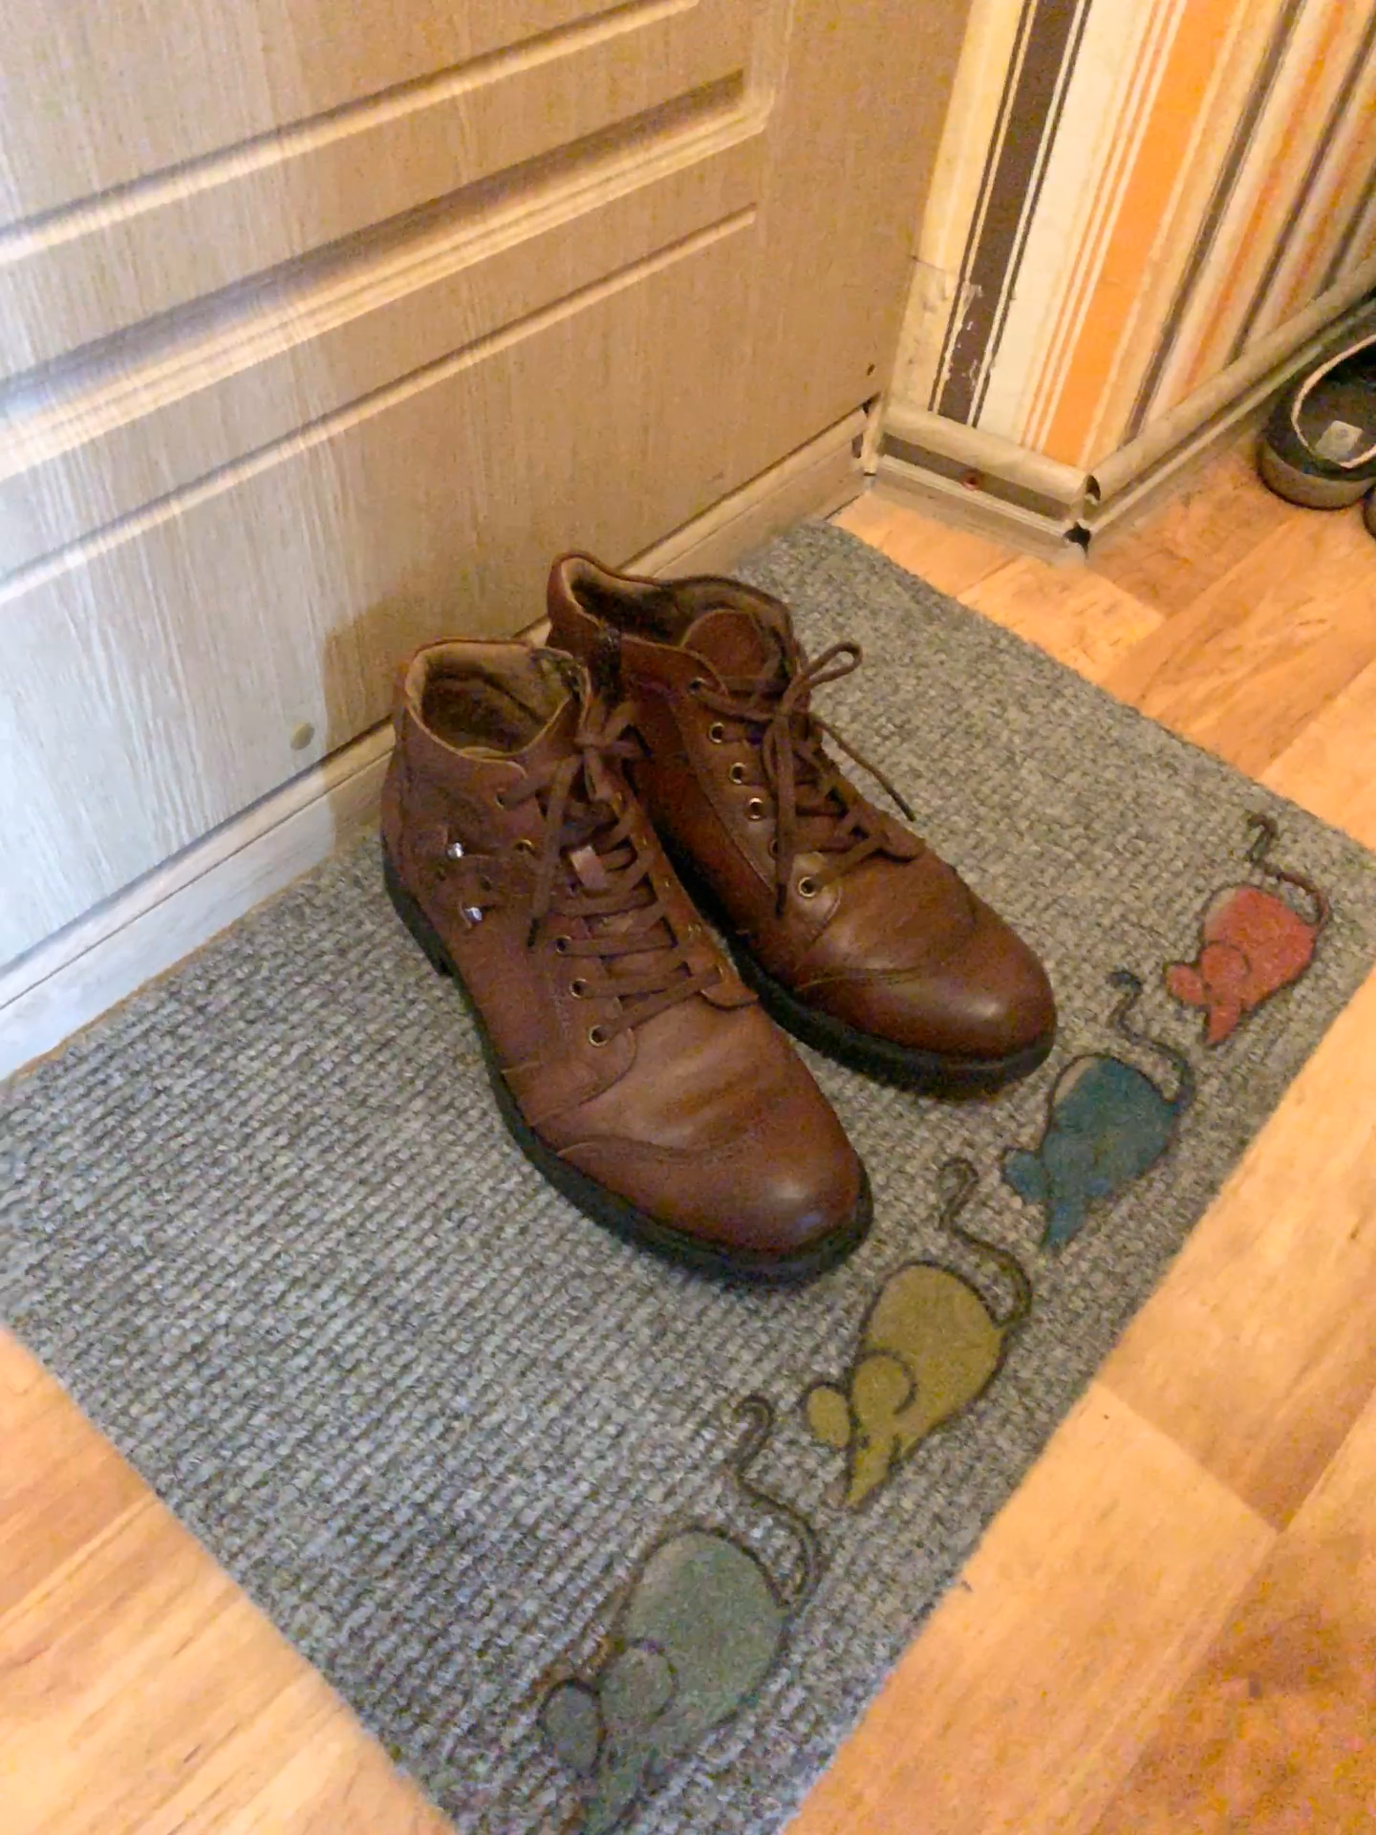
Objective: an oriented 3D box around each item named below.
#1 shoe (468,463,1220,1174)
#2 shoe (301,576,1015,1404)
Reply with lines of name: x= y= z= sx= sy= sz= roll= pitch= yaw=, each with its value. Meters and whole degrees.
shoe: x=0.048 y=-0.046 z=0.580 sx=0.270 sy=0.140 sz=0.110 roll=36 pitch=57 yaw=20
shoe: x=-0.025 y=0.019 z=0.525 sx=0.110 sy=0.140 sz=0.261 roll=-27 pitch=60 yaw=-24
